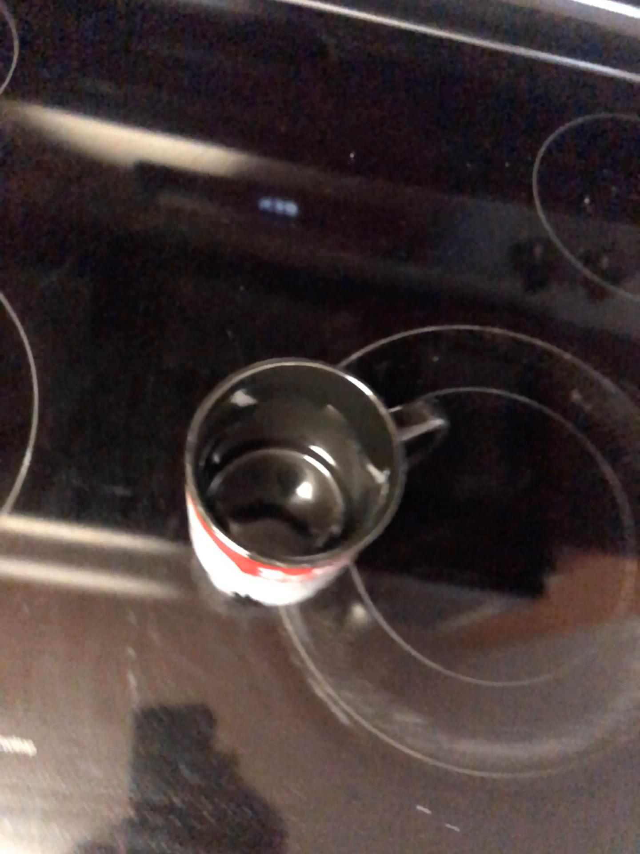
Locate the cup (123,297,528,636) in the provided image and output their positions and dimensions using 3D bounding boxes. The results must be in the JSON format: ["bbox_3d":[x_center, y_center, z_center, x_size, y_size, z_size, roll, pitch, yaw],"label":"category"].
[{"bbox_3d":[-0.004,0.019,0.309,0.130,0.090,0.090,-15,71,-15],"label":"cup"}]
